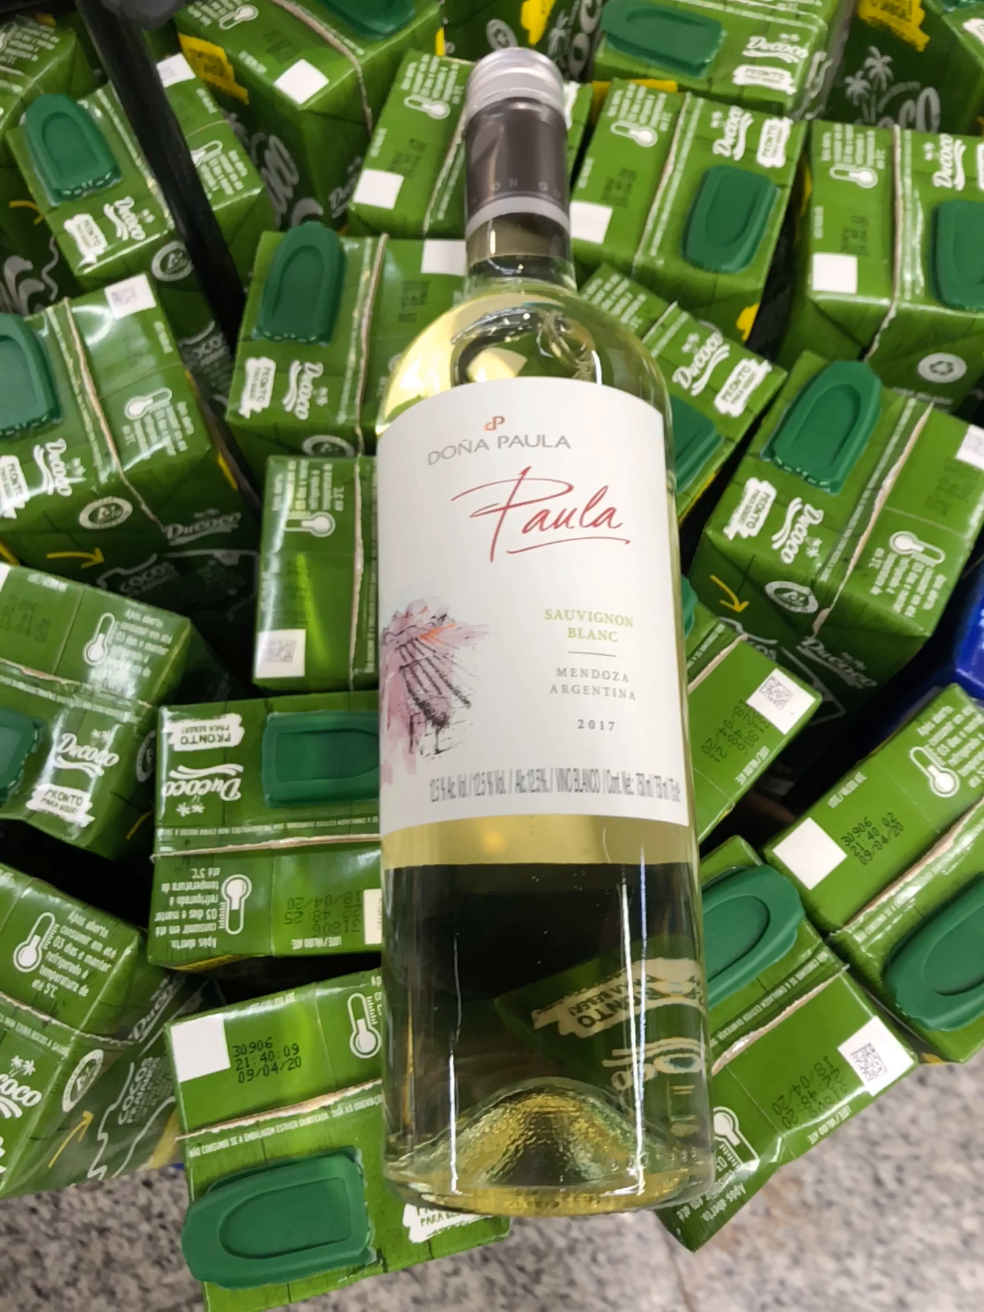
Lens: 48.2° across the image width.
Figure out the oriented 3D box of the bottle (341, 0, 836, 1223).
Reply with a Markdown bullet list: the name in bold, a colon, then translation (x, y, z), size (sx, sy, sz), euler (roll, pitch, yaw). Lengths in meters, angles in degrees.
- **bottle**: translation (0.013, -0.050, 0.271), size (0.080, 0.070, 0.331), euler (-2, 69, 2)
